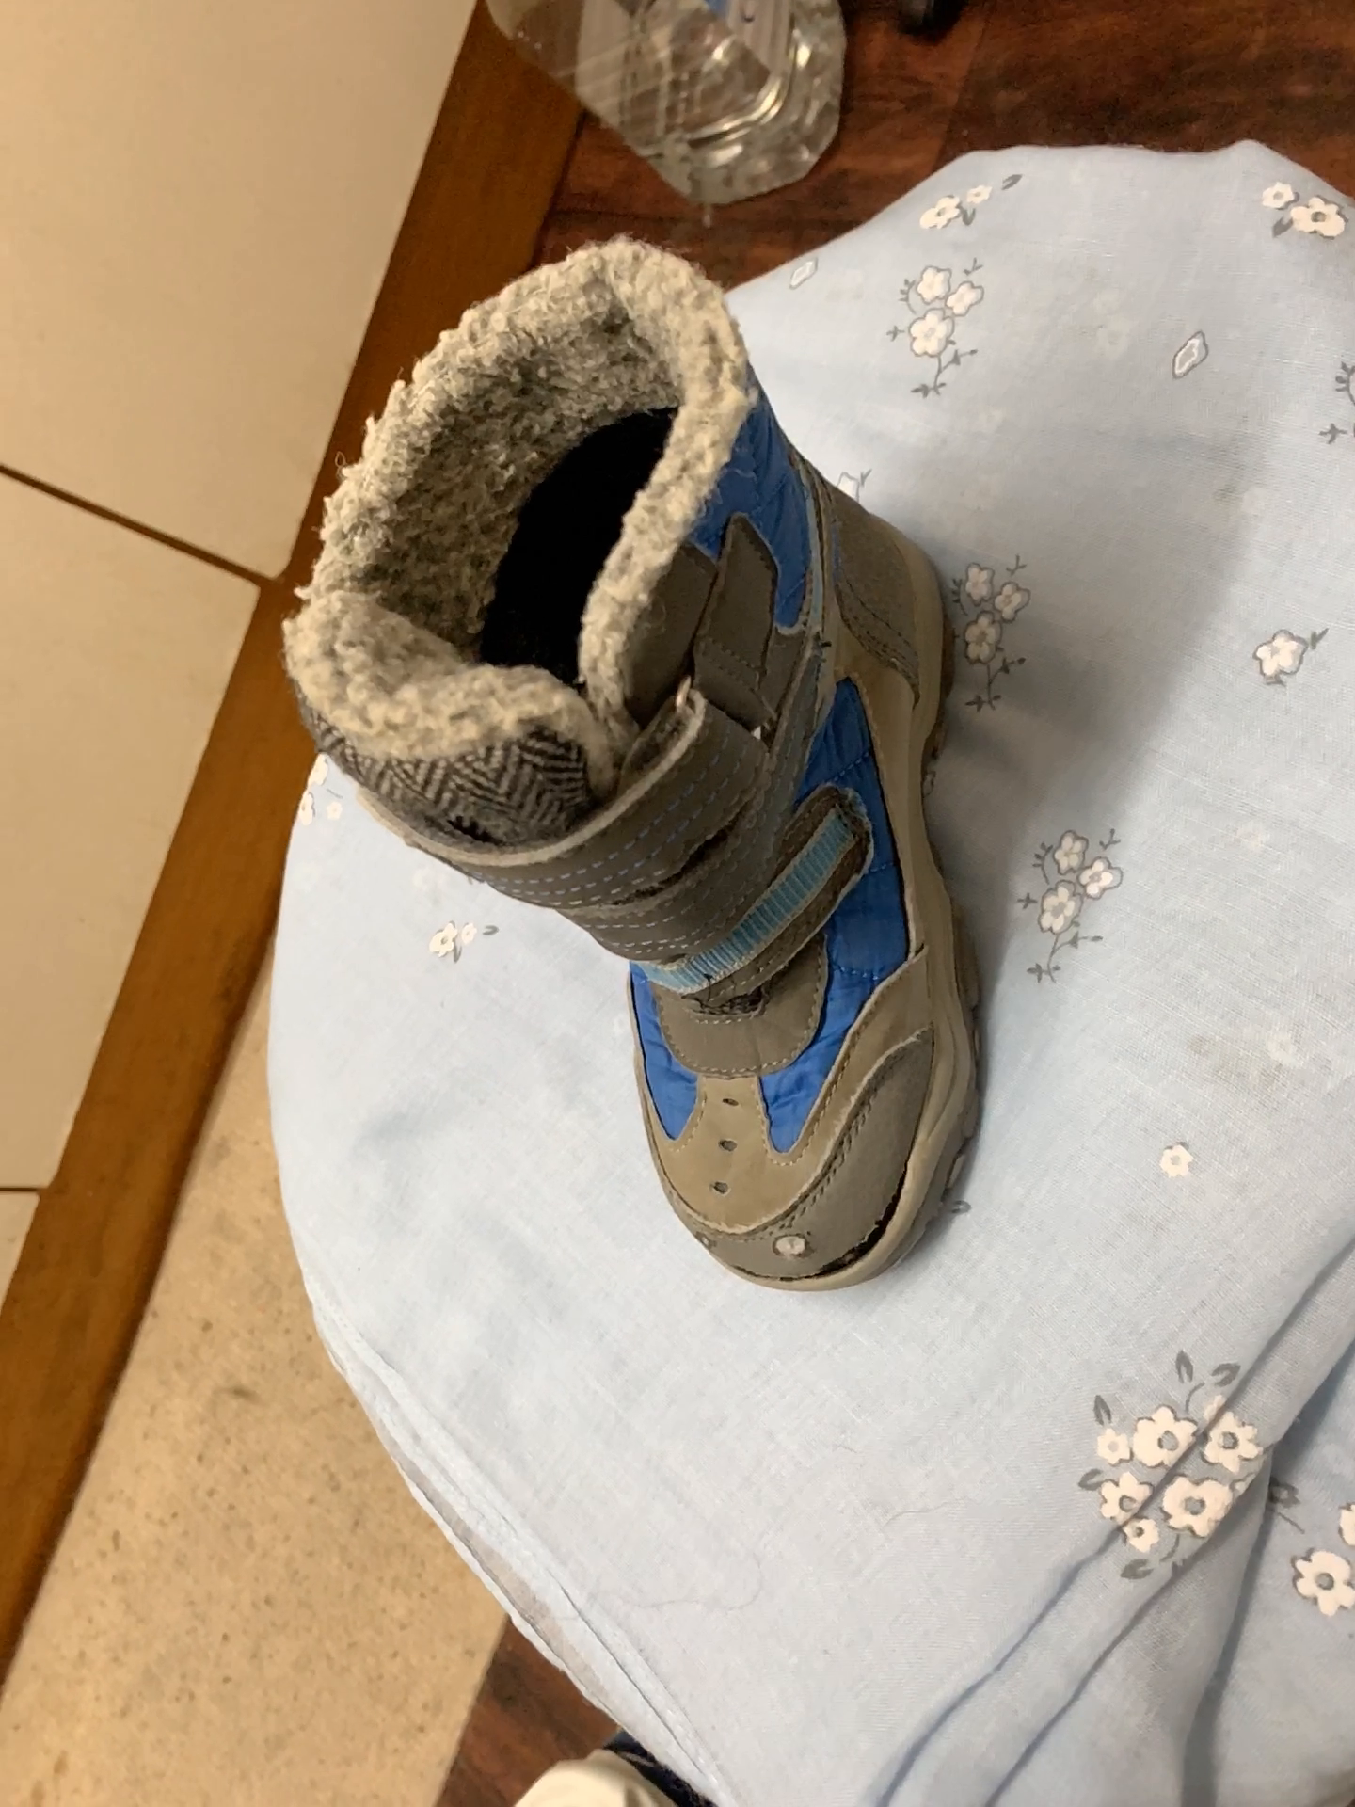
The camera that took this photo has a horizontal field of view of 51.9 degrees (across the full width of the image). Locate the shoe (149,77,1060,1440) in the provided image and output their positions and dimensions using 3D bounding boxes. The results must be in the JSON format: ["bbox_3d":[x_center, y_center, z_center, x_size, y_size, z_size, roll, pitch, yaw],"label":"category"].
[{"bbox_3d":[0.002,-0.014,0.288,0.090,0.159,0.200,-1,79,35],"label":"shoe"}]
